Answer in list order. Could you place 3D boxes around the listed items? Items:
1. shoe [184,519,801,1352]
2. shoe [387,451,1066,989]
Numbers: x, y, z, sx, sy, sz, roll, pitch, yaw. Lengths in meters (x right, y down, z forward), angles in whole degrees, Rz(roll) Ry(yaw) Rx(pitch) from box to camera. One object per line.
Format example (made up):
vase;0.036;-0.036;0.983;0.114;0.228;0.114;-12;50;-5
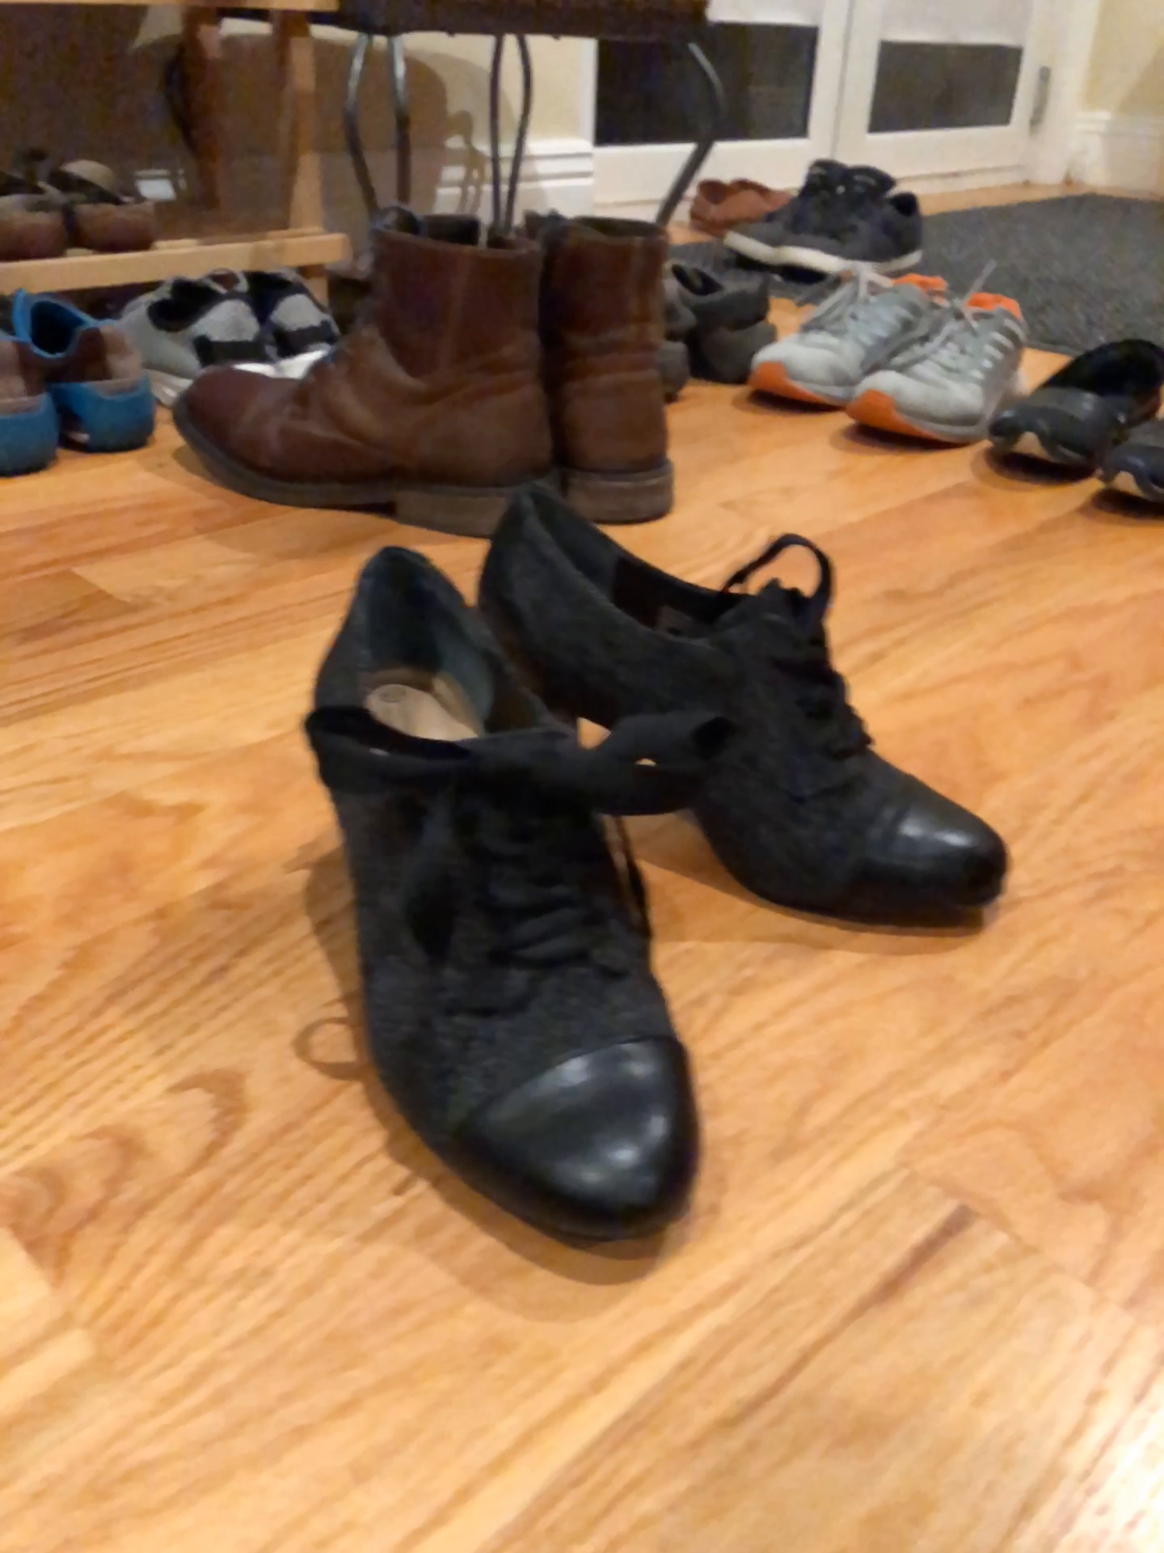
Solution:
shoe;-0.043;0.023;0.382;0.093;0.125;0.224;-12;33;-22
shoe;0.045;-0.032;0.483;0.223;0.125;0.088;18;33;25
